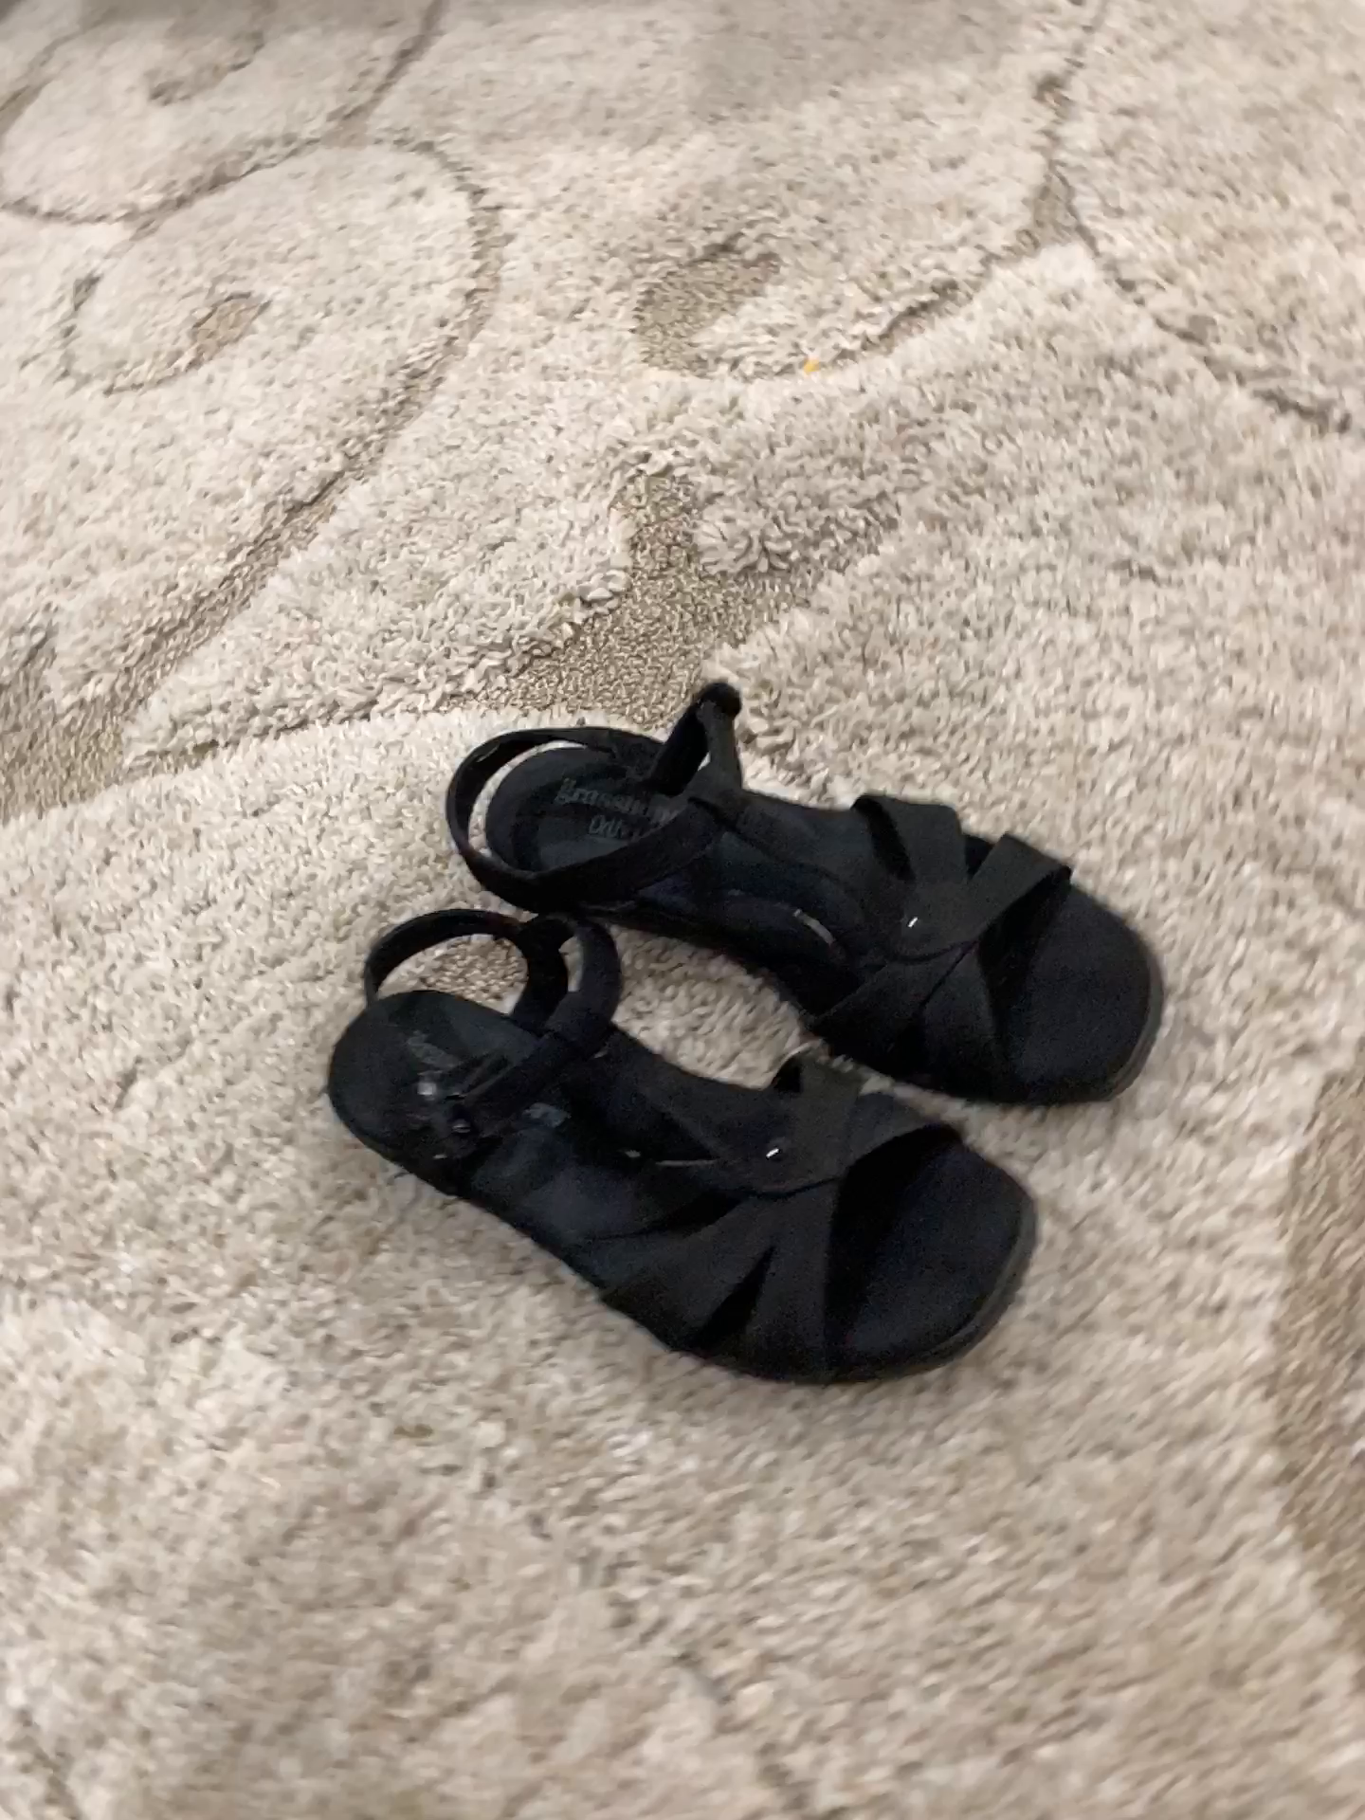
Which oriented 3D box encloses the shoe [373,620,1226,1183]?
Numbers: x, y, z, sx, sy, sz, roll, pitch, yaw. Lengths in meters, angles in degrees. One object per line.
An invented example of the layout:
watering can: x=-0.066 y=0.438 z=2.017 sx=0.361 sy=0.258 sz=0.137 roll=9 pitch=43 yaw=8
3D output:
shoe: x=0.031 y=-0.013 z=0.442 sx=0.242 sy=0.060 sz=0.100 roll=18 pitch=67 yaw=28

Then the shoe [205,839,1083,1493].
shoe: x=-0.016 y=0.065 z=0.421 sx=0.242 sy=0.060 sz=0.100 roll=18 pitch=67 yaw=28
